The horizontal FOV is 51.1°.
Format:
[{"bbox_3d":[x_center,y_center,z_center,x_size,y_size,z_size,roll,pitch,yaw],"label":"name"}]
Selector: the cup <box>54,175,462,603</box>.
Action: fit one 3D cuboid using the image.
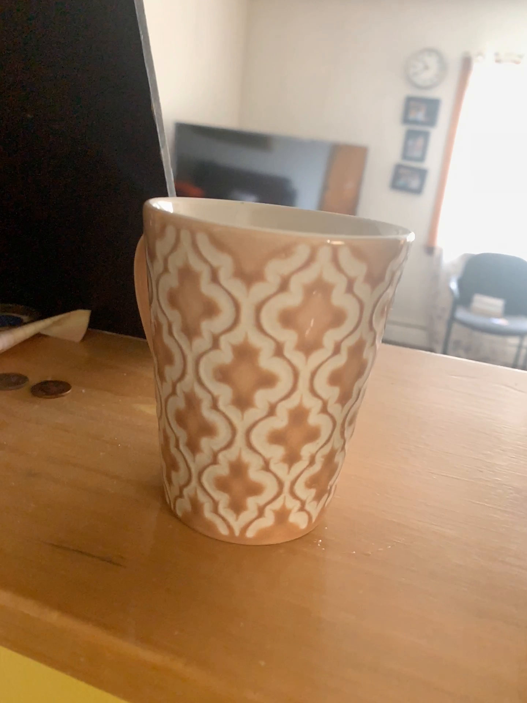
[{"bbox_3d":[-0.012,-0.003,0.215,0.090,0.109,0.120,-12,26,-41],"label":"cup"}]
